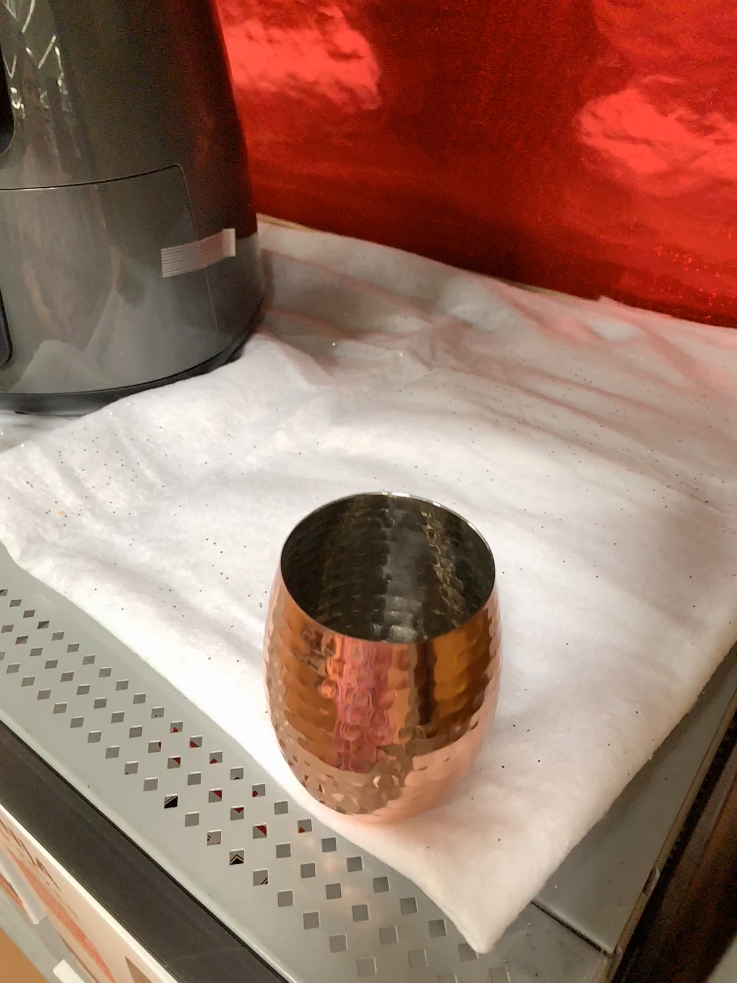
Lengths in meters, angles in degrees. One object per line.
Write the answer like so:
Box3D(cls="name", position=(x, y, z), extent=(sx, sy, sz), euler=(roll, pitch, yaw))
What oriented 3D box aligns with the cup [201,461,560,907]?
Box3D(cls="cup", position=(0.005, 0.065, 0.269), extent=(0.078, 0.104, 0.080), euler=(-1, 39, 1))
